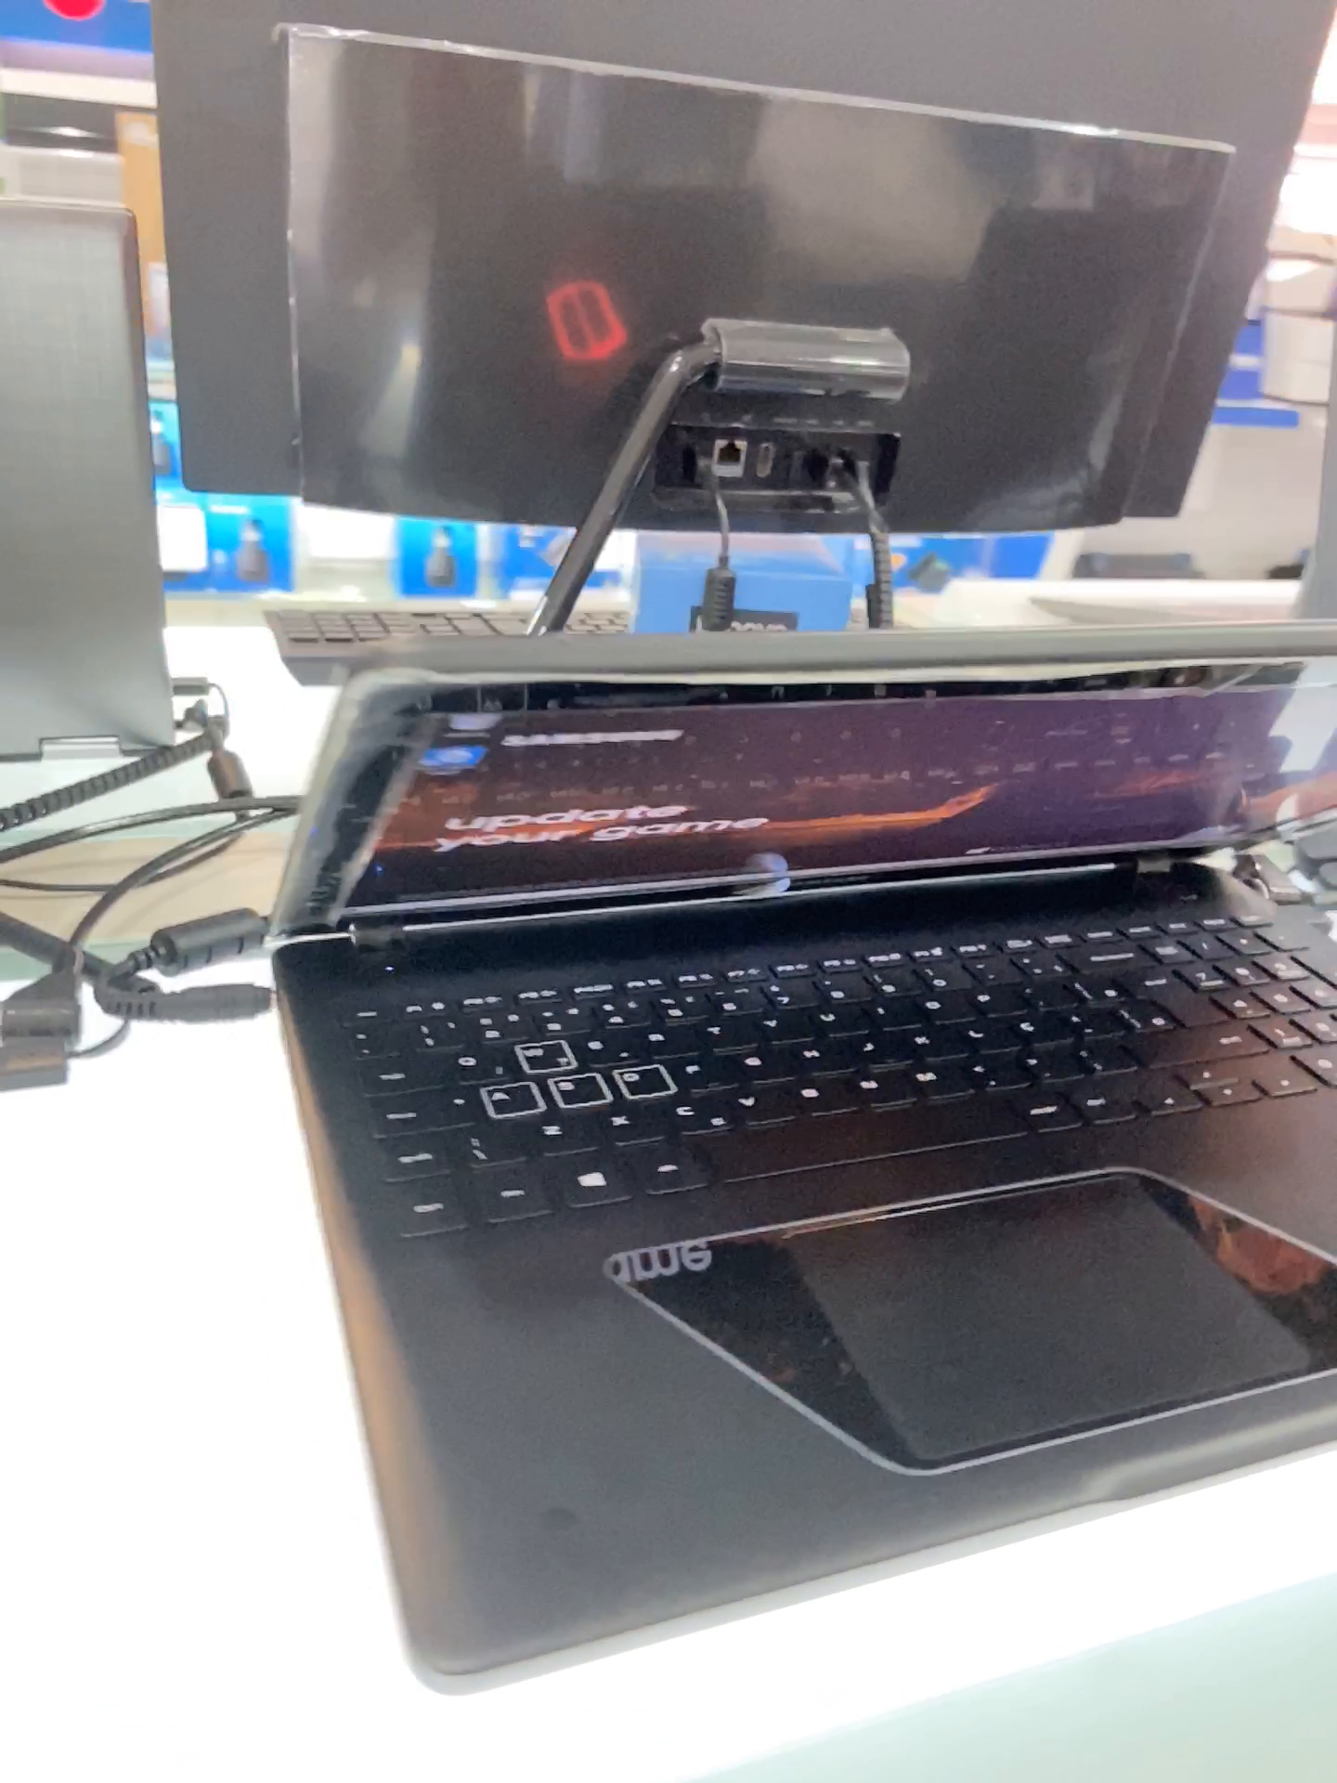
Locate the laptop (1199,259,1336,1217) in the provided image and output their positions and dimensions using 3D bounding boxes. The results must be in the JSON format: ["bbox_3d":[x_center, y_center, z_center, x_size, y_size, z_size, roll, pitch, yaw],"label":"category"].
[{"bbox_3d":[0.496,-0.093,0.537,0.413,0.234,0.308,-4,25,-21],"label":"laptop"}]

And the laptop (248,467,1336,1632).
[{"bbox_3d":[0.093,-0.013,0.368,0.368,0.152,0.259,-5,25,-20],"label":"laptop"}]

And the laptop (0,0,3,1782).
[{"bbox_3d":[-0.379,-0.030,0.241,0.431,0.223,0.346,-6,27,-20],"label":"laptop"}]
